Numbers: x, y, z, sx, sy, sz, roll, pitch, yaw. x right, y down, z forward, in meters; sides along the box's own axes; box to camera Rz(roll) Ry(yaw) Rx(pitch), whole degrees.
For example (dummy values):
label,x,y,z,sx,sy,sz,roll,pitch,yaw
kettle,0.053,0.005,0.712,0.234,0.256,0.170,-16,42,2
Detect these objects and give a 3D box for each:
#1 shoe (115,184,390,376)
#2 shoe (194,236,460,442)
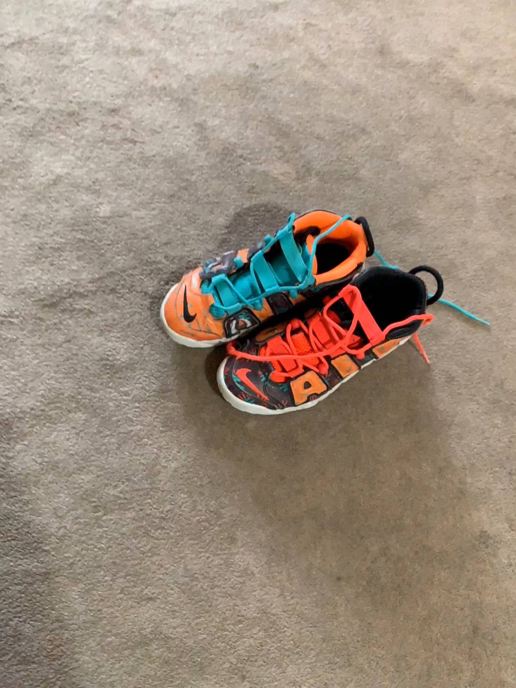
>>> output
label,x,y,z,sx,sy,sz,roll,pitch,yaw
shoe,-0.005,-0.064,0.565,0.250,0.090,0.100,-21,79,-5
shoe,0.066,0.000,0.554,0.230,0.110,0.100,-26,76,-6
